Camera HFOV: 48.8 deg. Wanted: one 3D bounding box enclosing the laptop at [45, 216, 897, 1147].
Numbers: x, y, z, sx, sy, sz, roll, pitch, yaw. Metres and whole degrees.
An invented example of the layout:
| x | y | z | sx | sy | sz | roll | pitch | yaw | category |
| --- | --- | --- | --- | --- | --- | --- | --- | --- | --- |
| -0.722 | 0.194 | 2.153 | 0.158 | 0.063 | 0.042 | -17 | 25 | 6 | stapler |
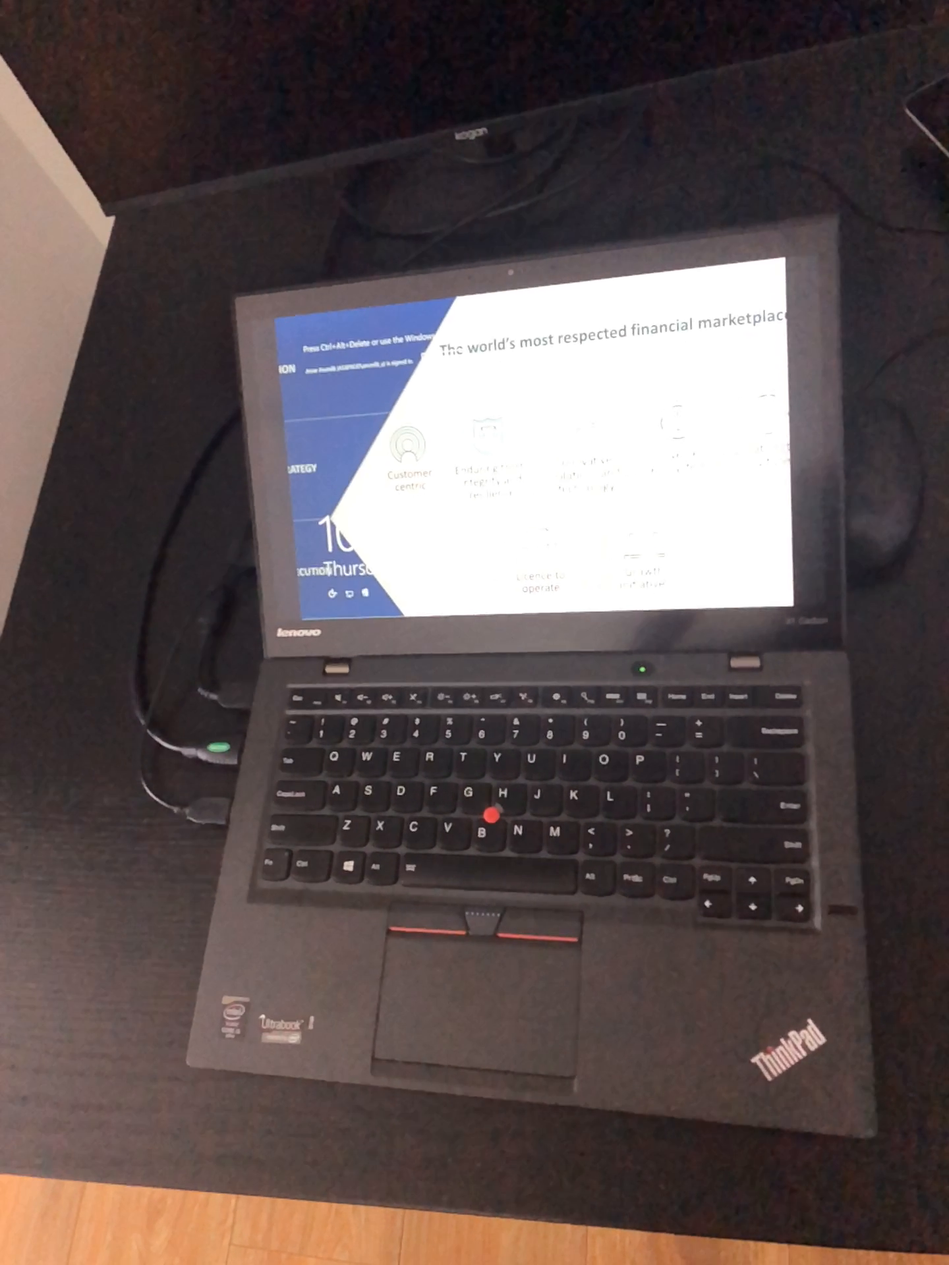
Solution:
| x | y | z | sx | sy | sz | roll | pitch | yaw | category |
| --- | --- | --- | --- | --- | --- | --- | --- | --- | --- |
| 0.013 | 0.011 | 0.505 | 0.323 | 0.117 | 0.389 | -1 | 67 | 16 | laptop |
